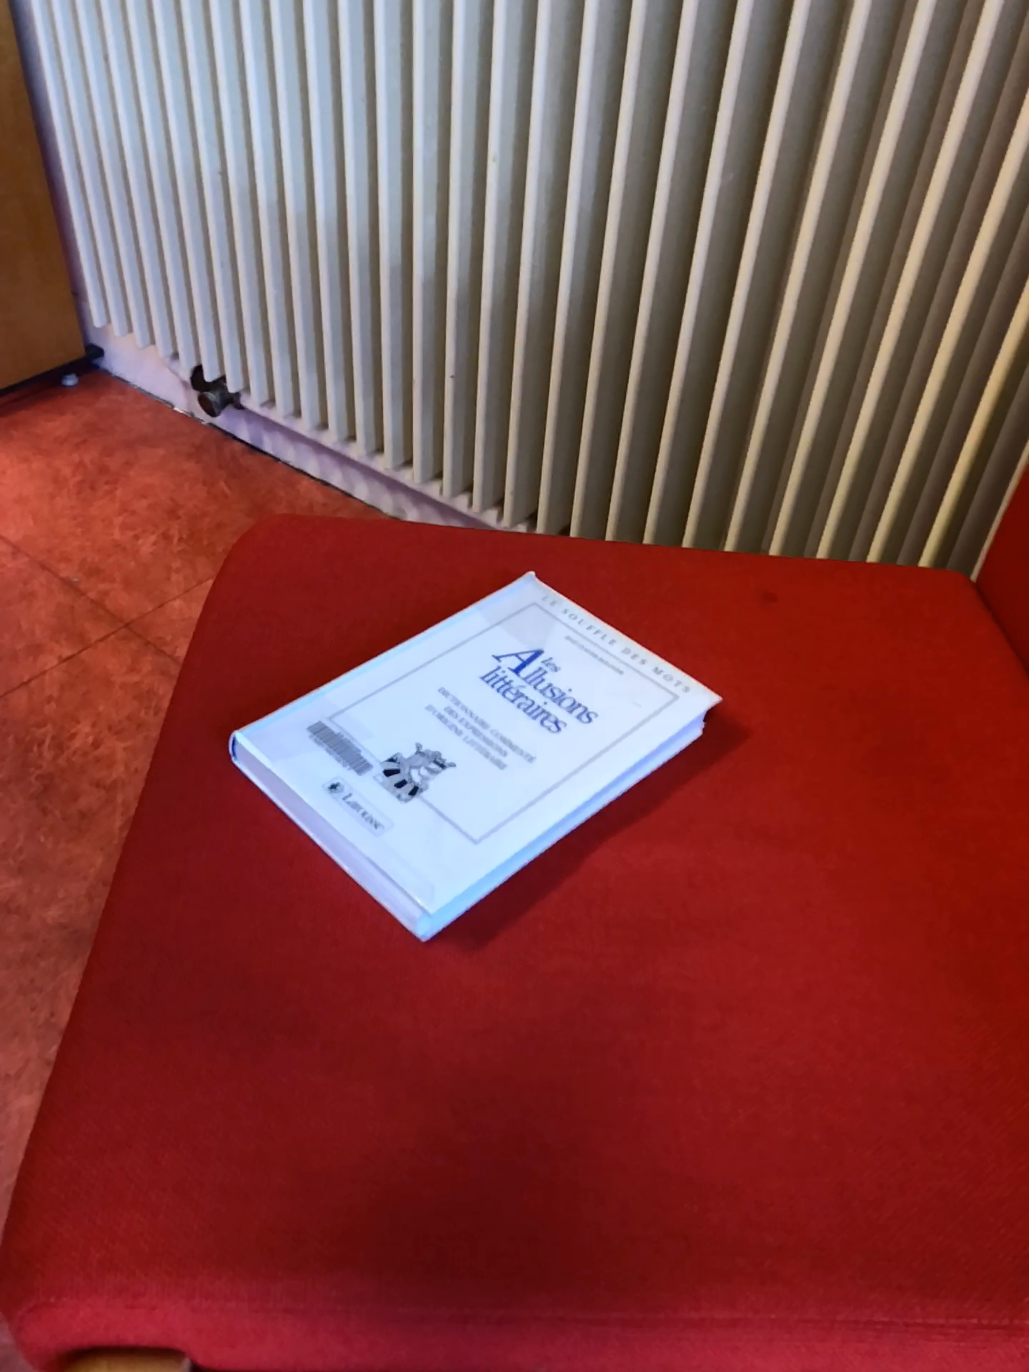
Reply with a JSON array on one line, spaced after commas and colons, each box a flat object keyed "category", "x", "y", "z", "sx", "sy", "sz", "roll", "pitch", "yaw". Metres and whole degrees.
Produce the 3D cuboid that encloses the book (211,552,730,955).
[{"category": "book", "x": -0.018, "y": 0.019, "z": 0.576, "sx": 0.150, "sy": 0.030, "sz": 0.218, "roll": 36, "pitch": 50, "yaw": 29}]
